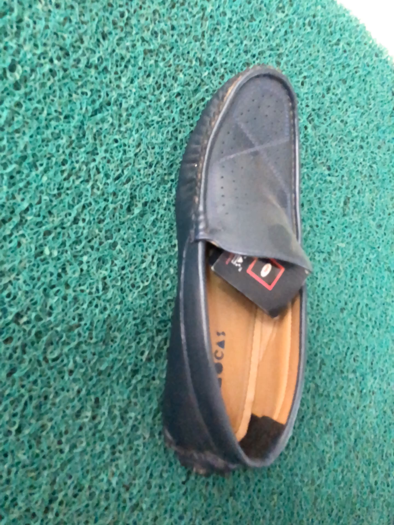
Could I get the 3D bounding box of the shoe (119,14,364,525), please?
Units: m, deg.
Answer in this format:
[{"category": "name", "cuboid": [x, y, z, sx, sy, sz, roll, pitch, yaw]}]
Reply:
[{"category": "shoe", "cuboid": [0.036, 0.003, 0.287, 0.101, 0.070, 0.280, 17, 77, -33]}]
